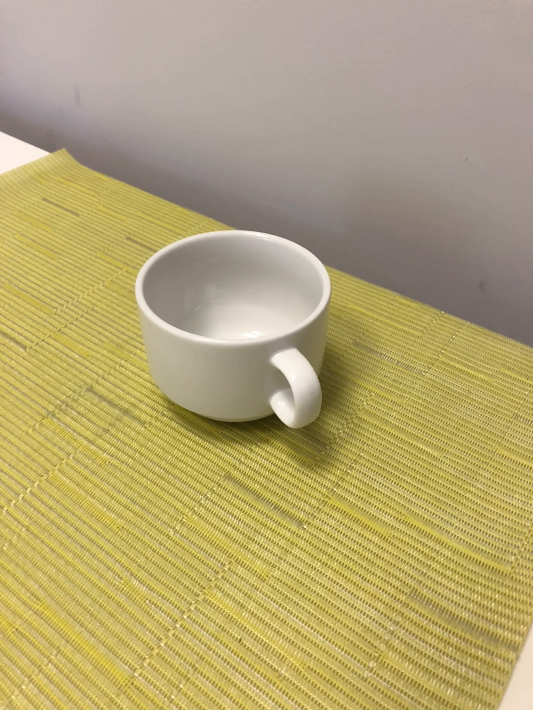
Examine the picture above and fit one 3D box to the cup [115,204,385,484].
[{"bbox_3d":[-0.014,-0.012,0.270,0.086,0.057,0.111,-11,43,-14],"label":"cup"}]
